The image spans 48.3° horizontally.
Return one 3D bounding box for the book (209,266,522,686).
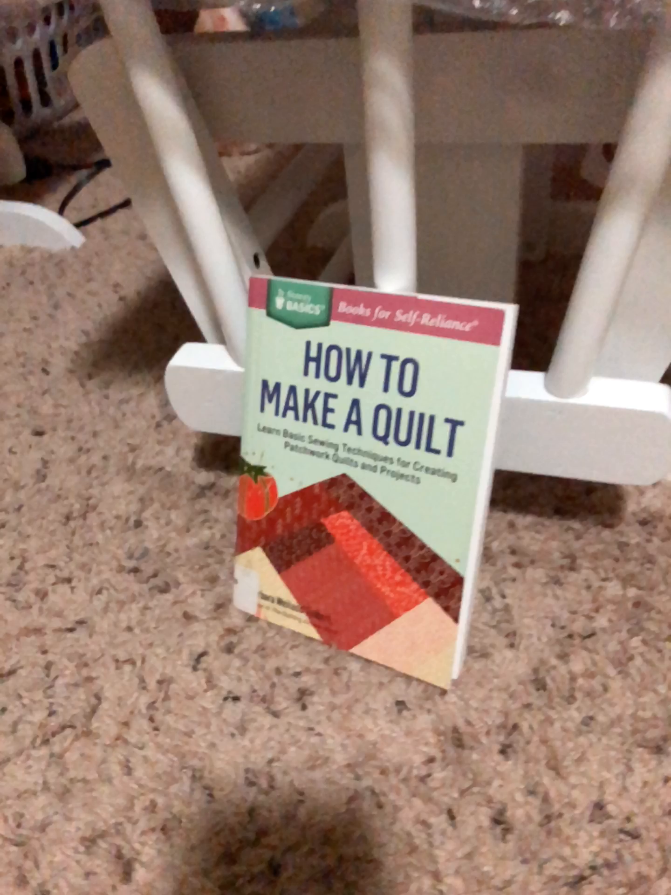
[{"bbox_3d":[0.005,0.010,0.347,0.130,0.168,0.020,14,17,25],"label":"book"}]
